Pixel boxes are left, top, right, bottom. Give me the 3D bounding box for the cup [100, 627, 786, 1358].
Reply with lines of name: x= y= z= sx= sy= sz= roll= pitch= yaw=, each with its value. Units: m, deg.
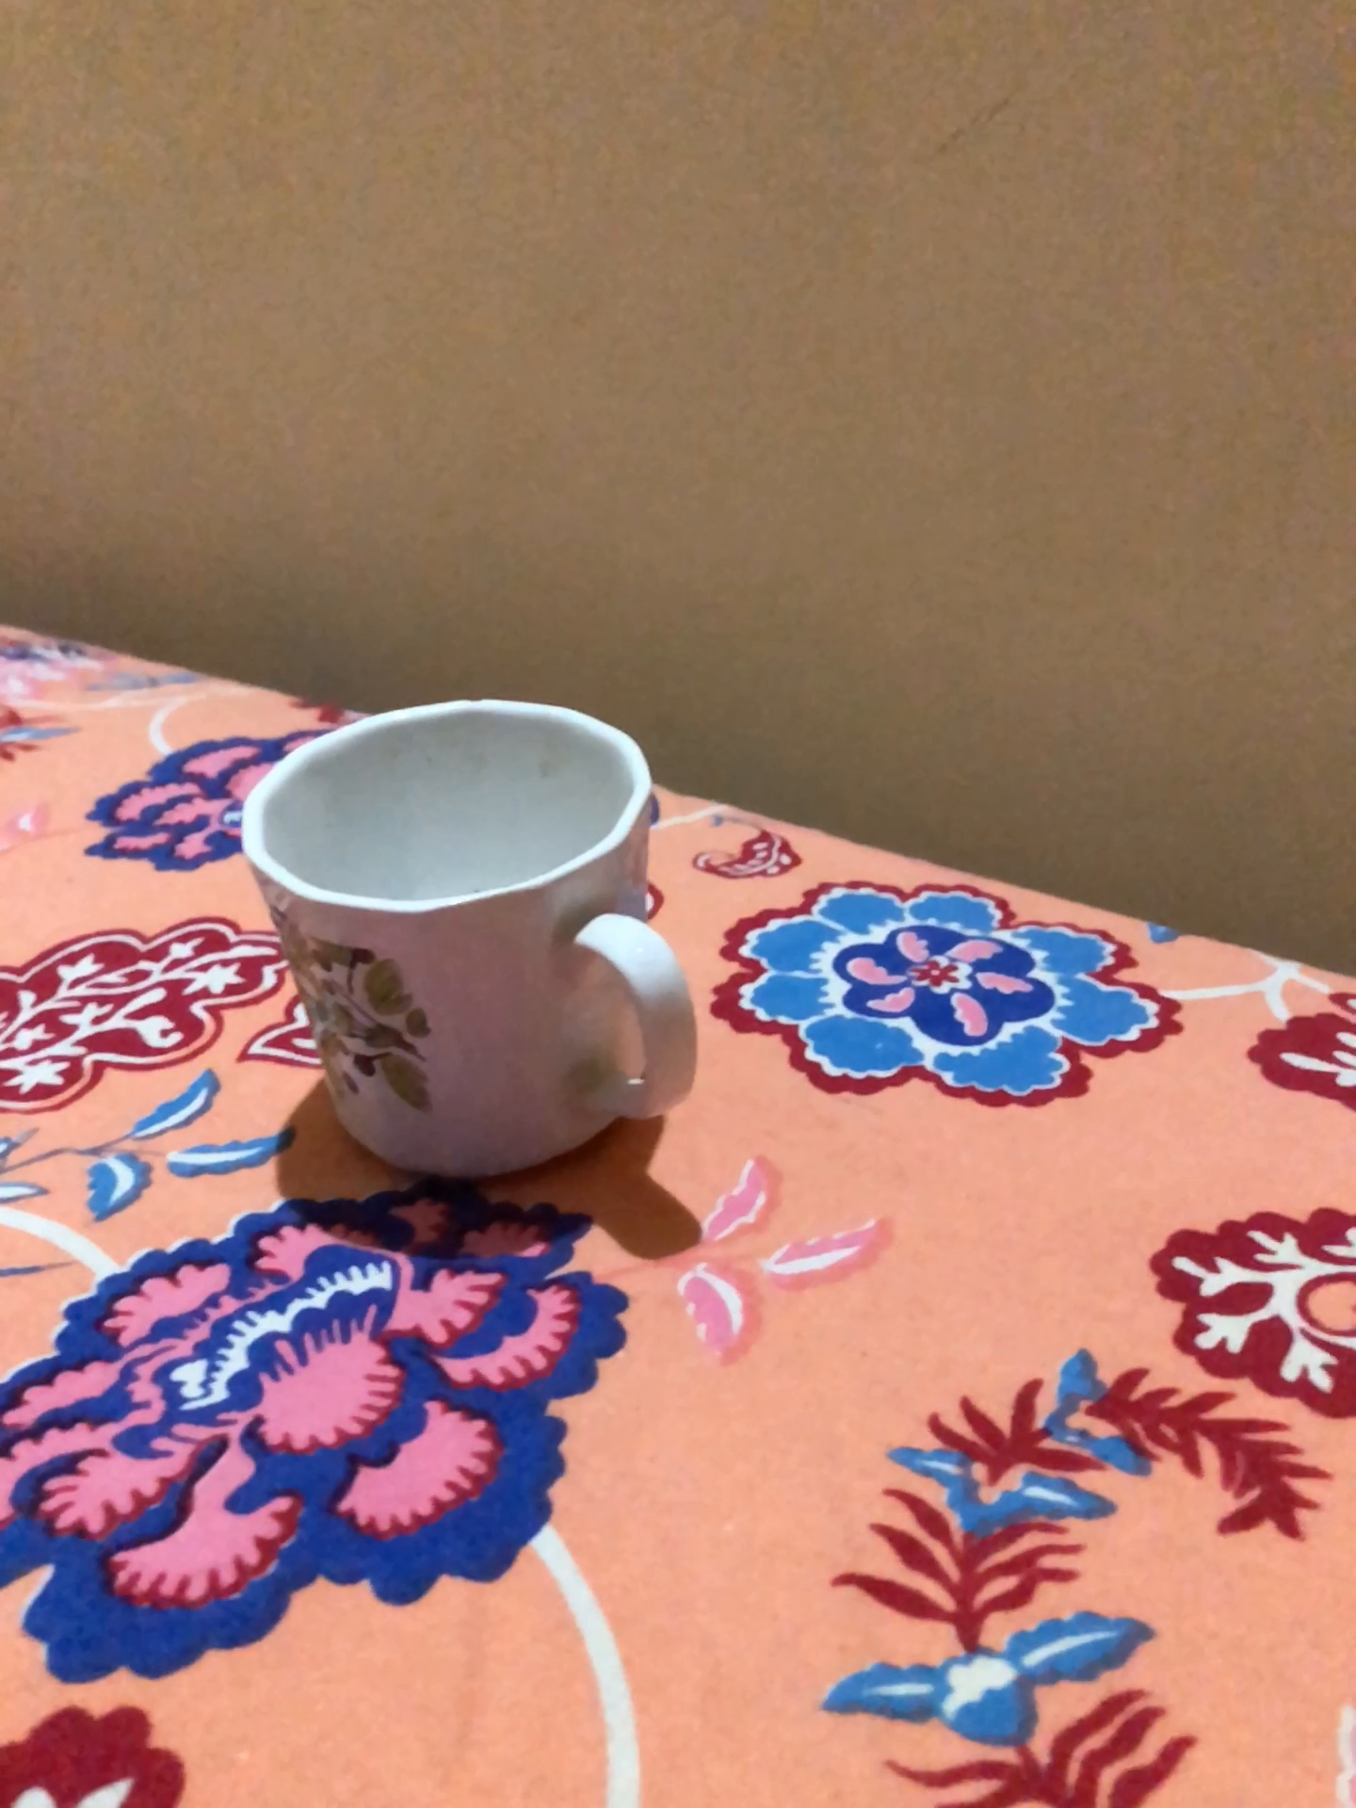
cup: x=-0.038 y=0.007 z=0.244 sx=0.060 sy=0.070 sz=0.090 roll=-28 pitch=37 yaw=-30
